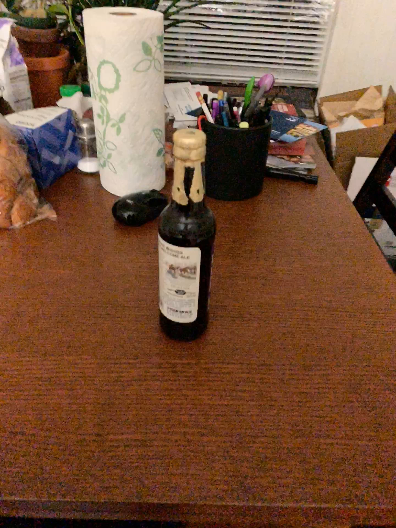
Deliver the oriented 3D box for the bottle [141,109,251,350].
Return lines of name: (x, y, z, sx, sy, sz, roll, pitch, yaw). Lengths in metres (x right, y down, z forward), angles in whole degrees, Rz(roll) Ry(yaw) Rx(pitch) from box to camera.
bottle: (-0.009, -0.024, 0.404, 0.070, 0.229, 0.070, 2, 38, -2)
